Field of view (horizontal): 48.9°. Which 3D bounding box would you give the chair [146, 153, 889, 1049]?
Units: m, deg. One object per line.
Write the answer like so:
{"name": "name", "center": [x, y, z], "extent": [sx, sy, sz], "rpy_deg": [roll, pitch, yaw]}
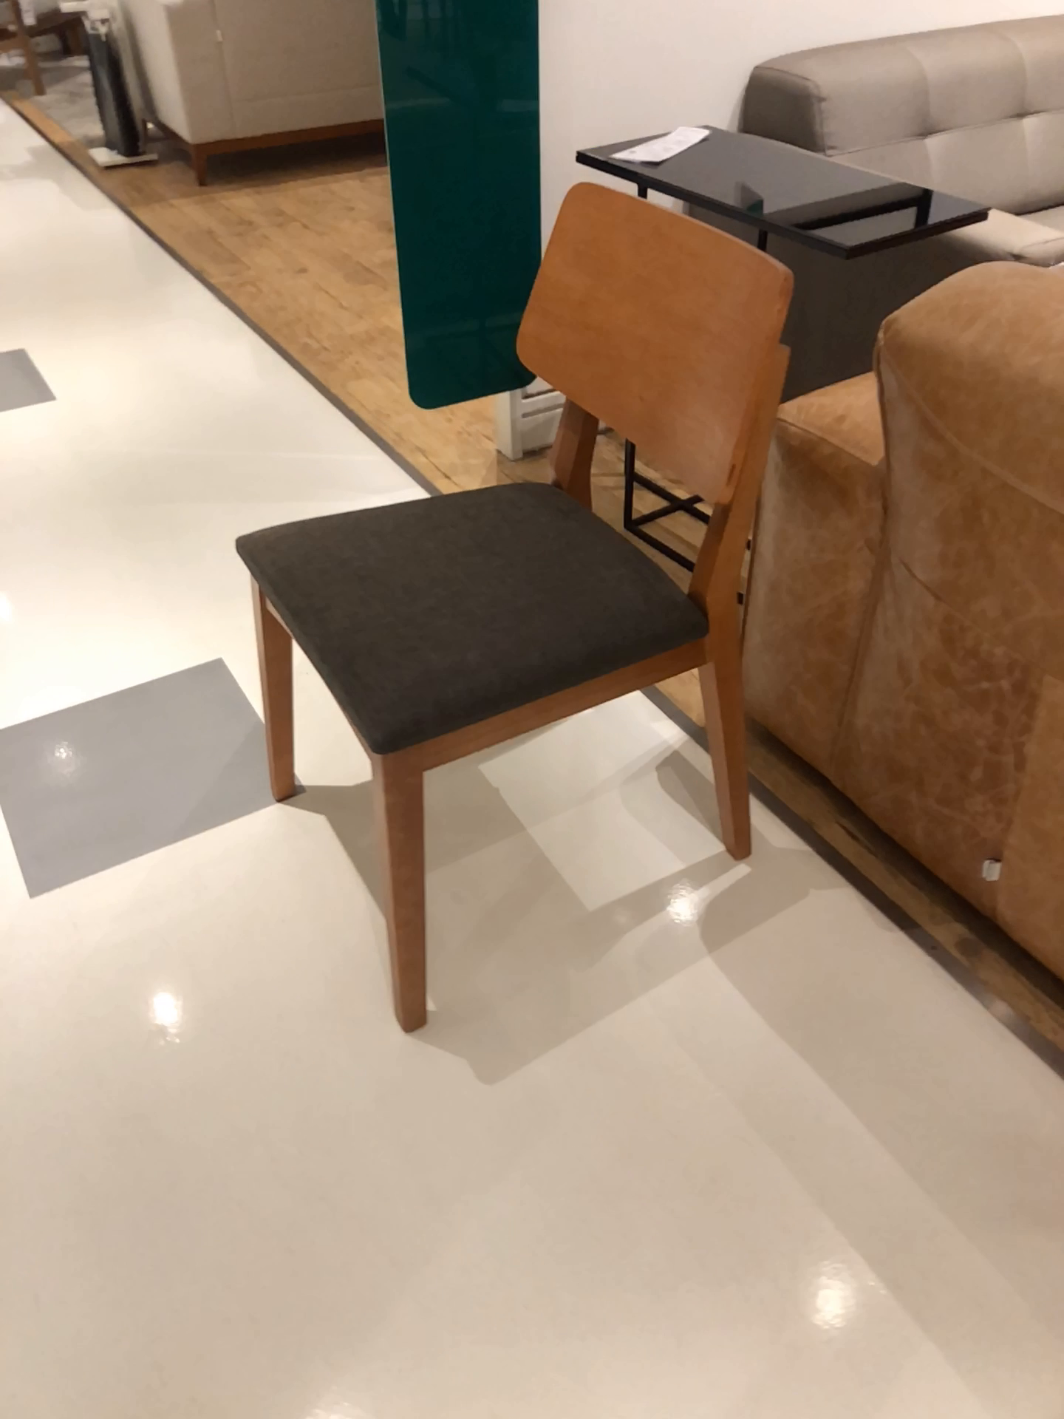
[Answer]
{"name": "chair", "center": [-0.025, -0.138, 1.379], "extent": [0.561, 0.794, 0.483], "rpy_deg": [-20, 42, -22]}
